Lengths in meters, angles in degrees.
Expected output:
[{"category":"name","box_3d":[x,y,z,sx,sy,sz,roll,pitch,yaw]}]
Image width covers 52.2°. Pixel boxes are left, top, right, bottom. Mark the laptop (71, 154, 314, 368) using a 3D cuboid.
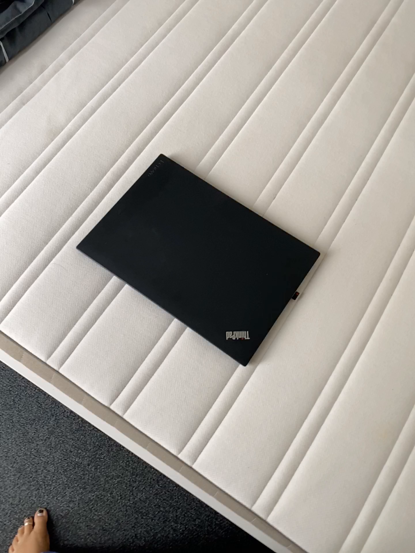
[{"category":"laptop","box_3d":[-0.021,-0.034,0.607,0.288,0.005,0.193,34,75,9]}]
